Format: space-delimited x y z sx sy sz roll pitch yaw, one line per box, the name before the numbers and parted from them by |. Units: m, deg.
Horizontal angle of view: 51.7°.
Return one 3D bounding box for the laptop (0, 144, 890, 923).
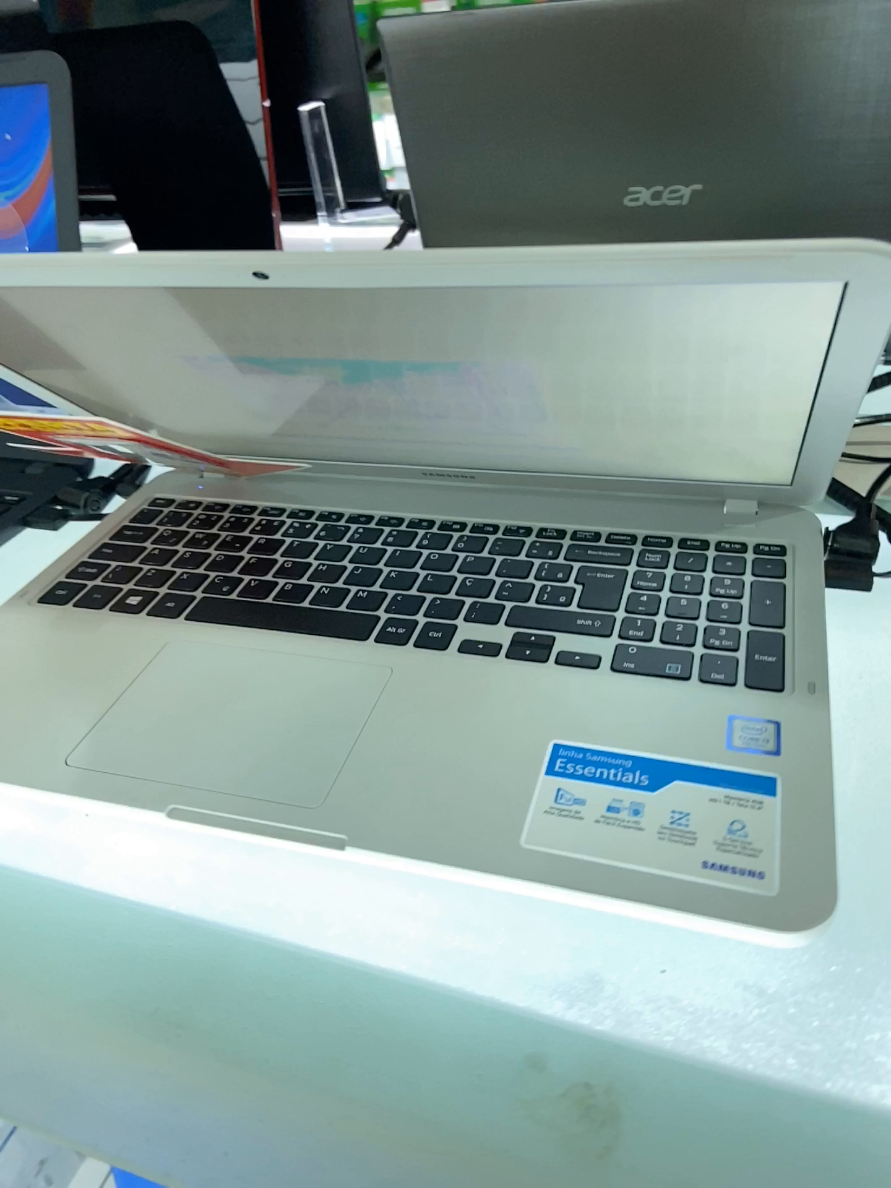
laptop | -0.039 -0.055 0.362 0.367 0.162 0.233 5 36 18
